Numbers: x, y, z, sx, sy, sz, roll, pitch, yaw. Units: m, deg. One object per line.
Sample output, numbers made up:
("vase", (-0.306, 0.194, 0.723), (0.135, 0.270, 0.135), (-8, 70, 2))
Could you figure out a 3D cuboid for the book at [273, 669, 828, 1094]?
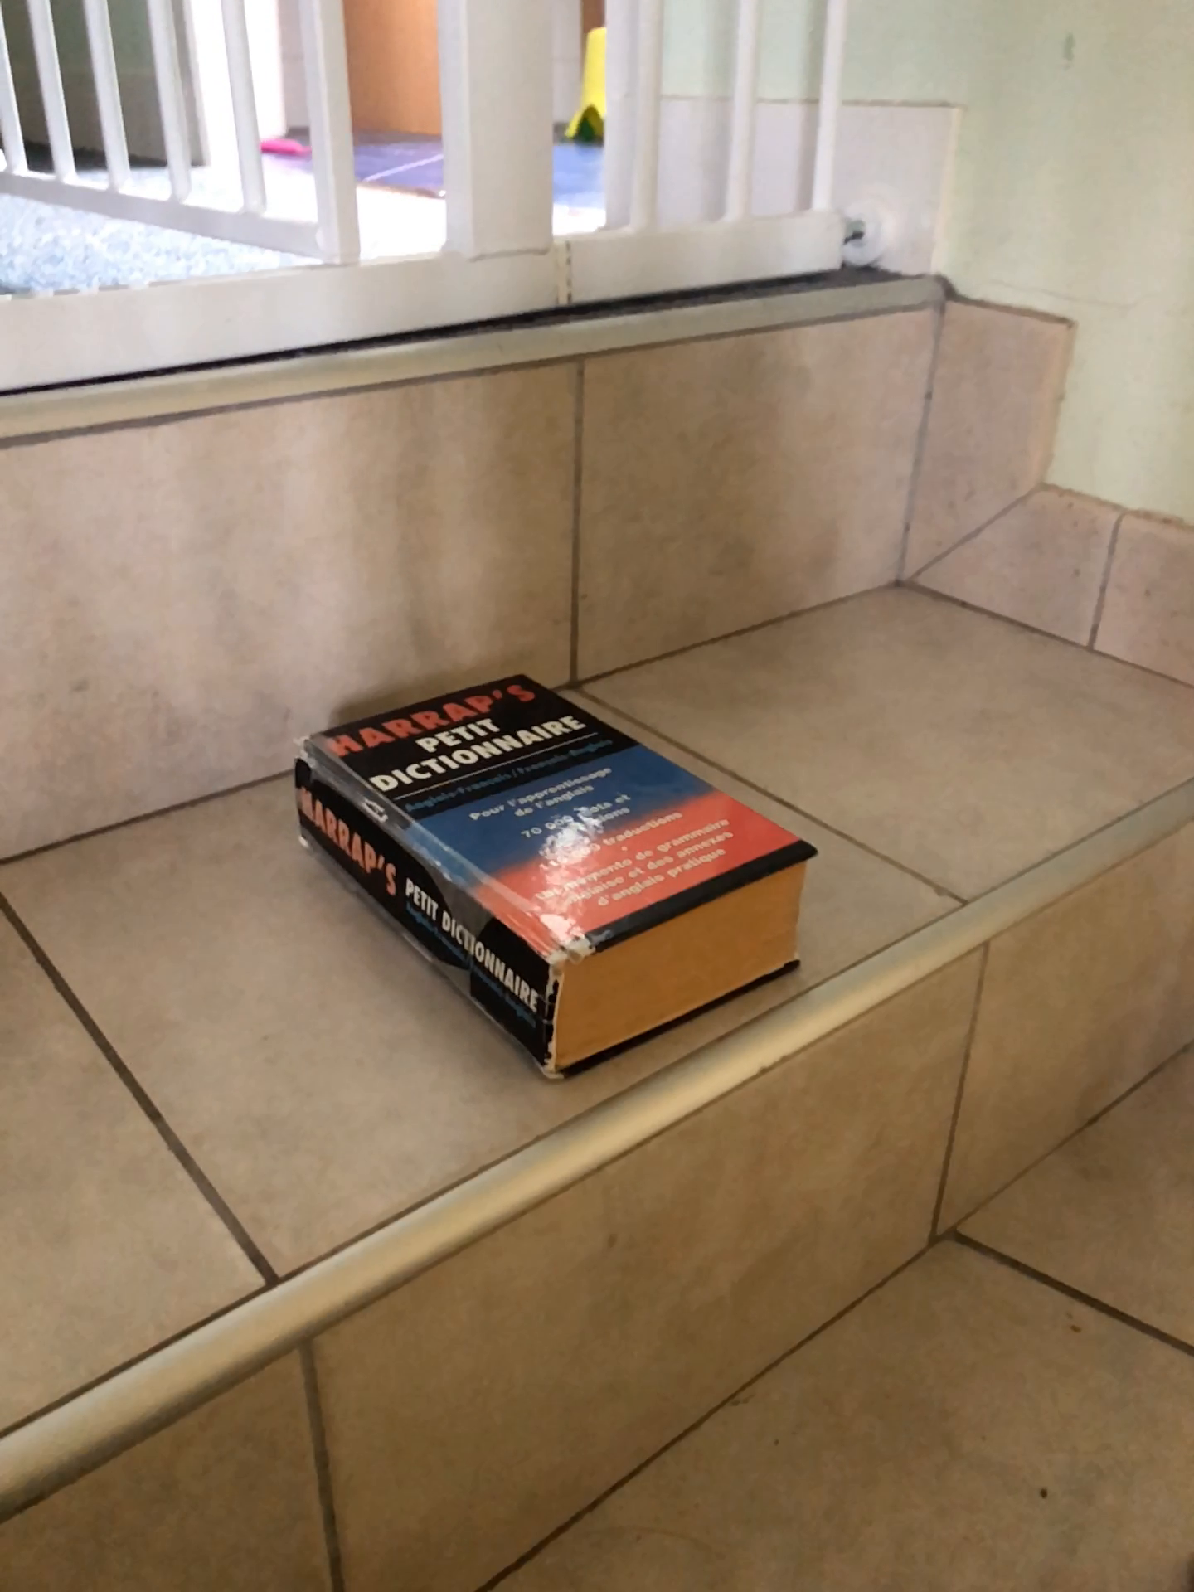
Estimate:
("book", (-0.024, 0.018, 0.494), (0.118, 0.050, 0.185), (-20, 34, -33))
